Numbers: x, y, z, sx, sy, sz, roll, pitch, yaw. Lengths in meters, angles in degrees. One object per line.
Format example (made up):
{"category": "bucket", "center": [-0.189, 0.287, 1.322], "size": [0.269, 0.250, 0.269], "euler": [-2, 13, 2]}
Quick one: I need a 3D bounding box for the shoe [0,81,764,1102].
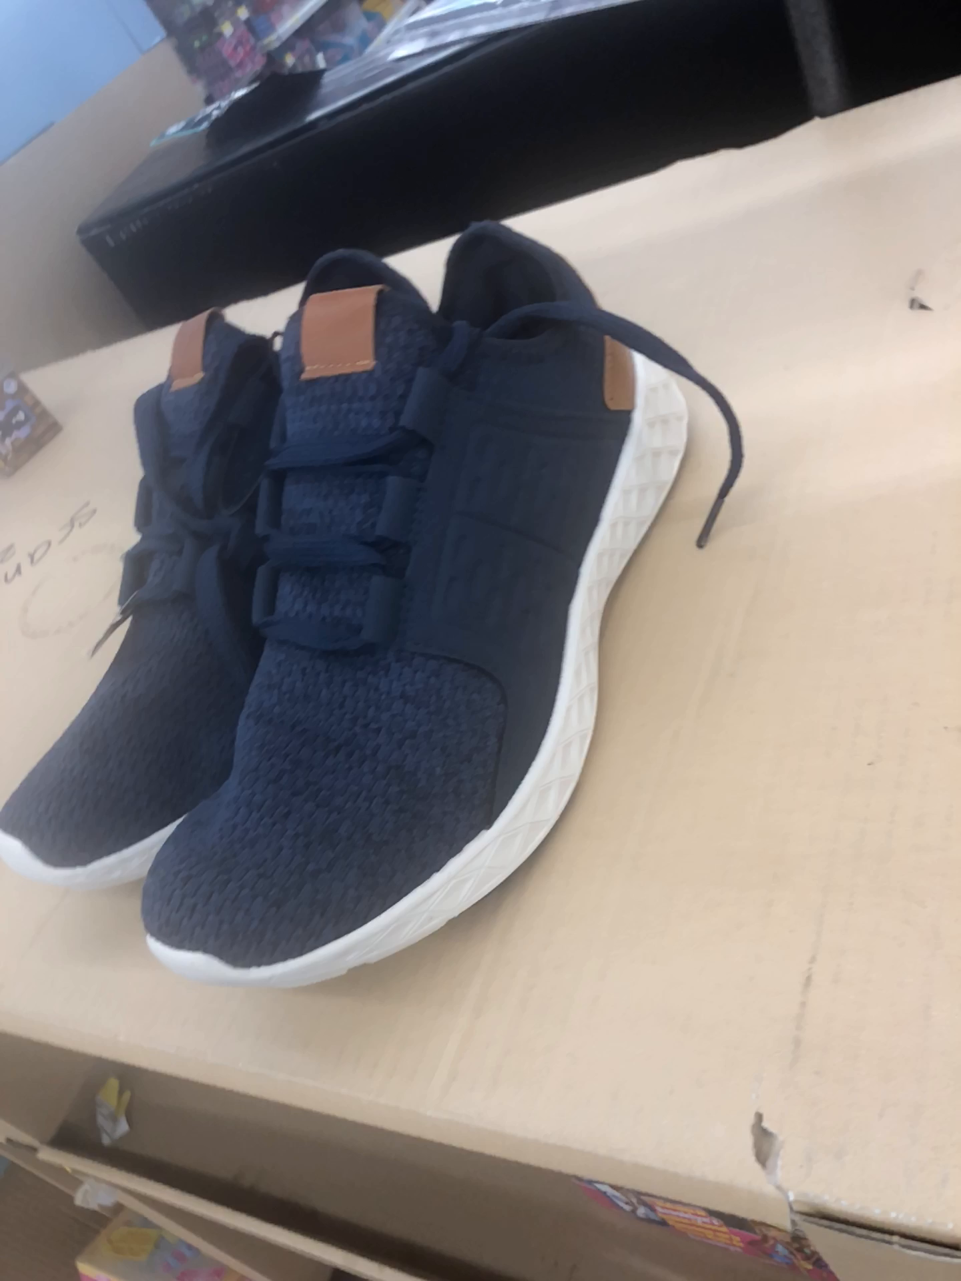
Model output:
{"category": "shoe", "center": [-0.019, -0.036, 0.337], "size": [0.110, 0.120, 0.291], "euler": [0, 47, 37]}

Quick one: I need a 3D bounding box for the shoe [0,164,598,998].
{"category": "shoe", "center": [-0.089, -0.038, 0.416], "size": [0.110, 0.129, 0.290], "euler": [7, 51, 41]}
